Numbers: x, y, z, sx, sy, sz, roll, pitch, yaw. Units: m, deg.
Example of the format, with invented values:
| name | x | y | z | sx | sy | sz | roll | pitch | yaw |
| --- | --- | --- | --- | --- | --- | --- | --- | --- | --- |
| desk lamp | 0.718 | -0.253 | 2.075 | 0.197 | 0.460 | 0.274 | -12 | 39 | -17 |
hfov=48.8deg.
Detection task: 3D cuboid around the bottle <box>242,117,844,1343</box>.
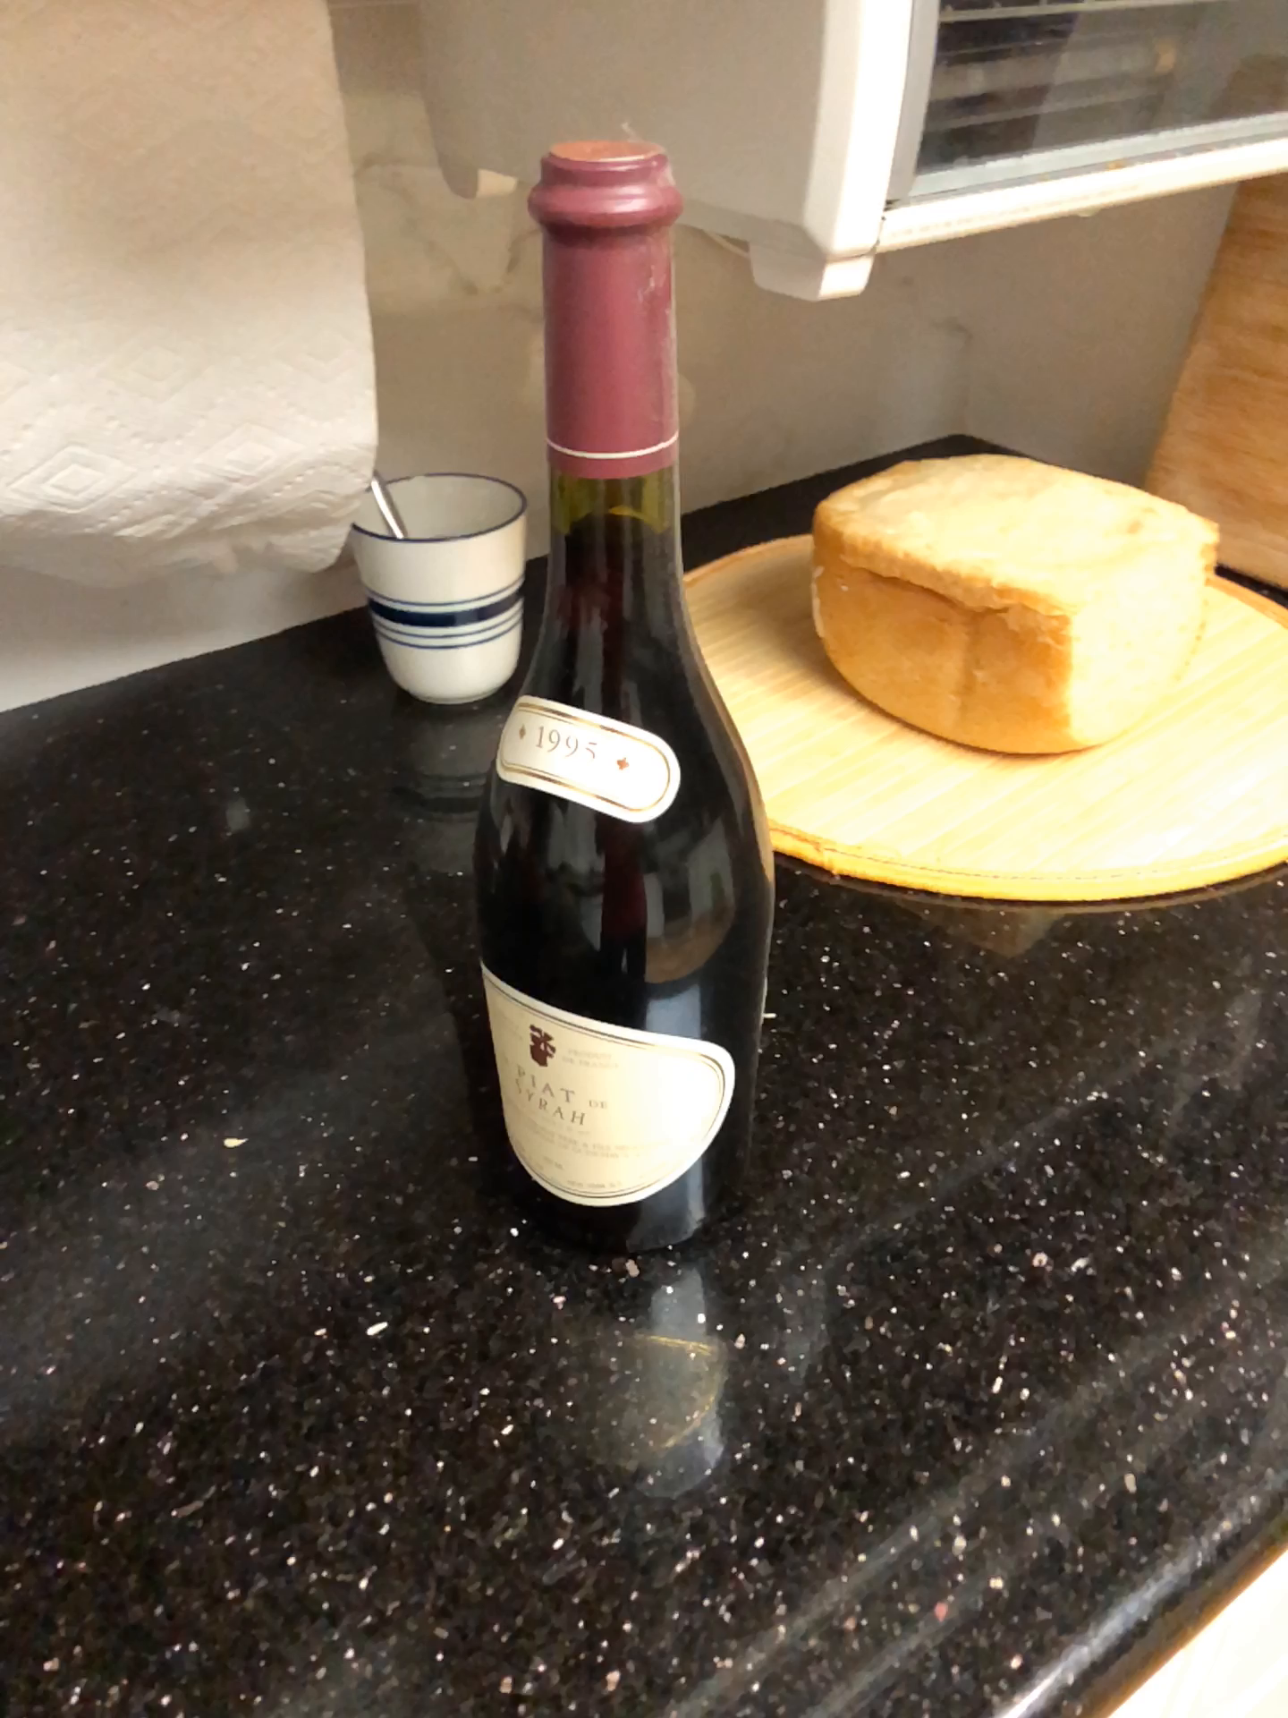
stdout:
| name | x | y | z | sx | sy | sz | roll | pitch | yaw |
| --- | --- | --- | --- | --- | --- | --- | --- | --- | --- |
| bottle | -0.016 | -0.019 | 0.383 | 0.090 | 0.308 | 0.090 | -1 | 35 | 1 |
